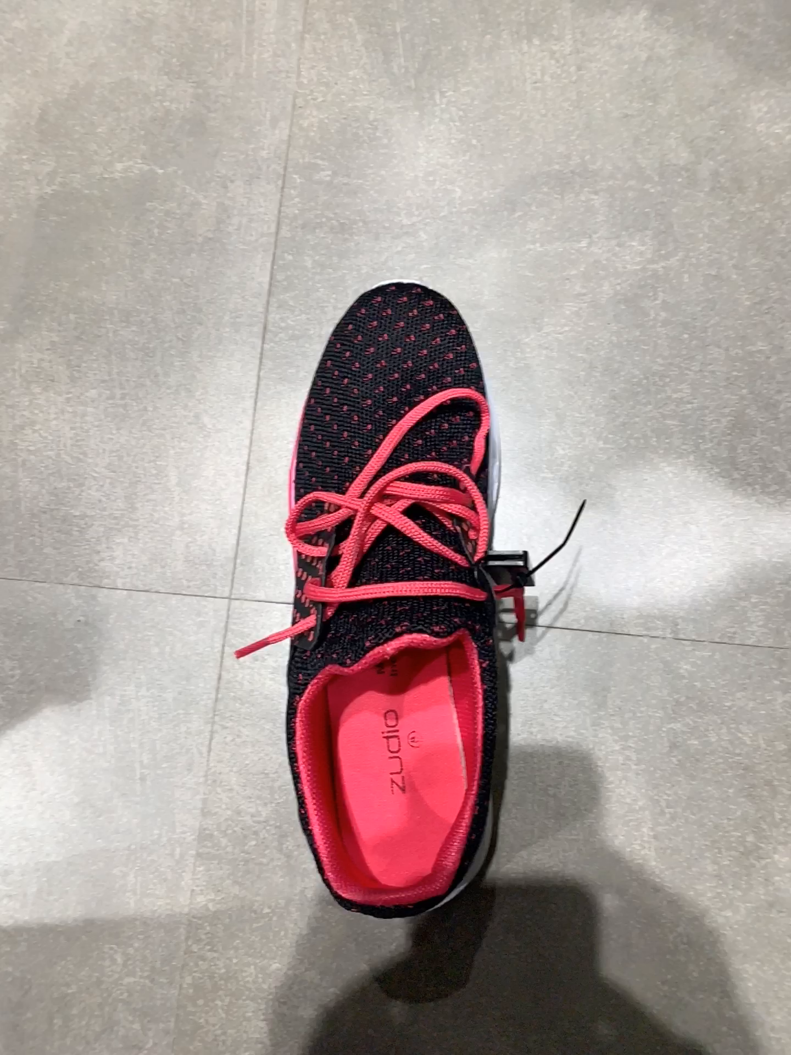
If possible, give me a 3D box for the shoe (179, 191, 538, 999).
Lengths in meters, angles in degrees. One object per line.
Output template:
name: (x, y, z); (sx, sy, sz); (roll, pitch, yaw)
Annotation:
shoe: (-0.008, 0.021, 0.323); (0.110, 0.110, 0.263); (-1, 80, 5)
